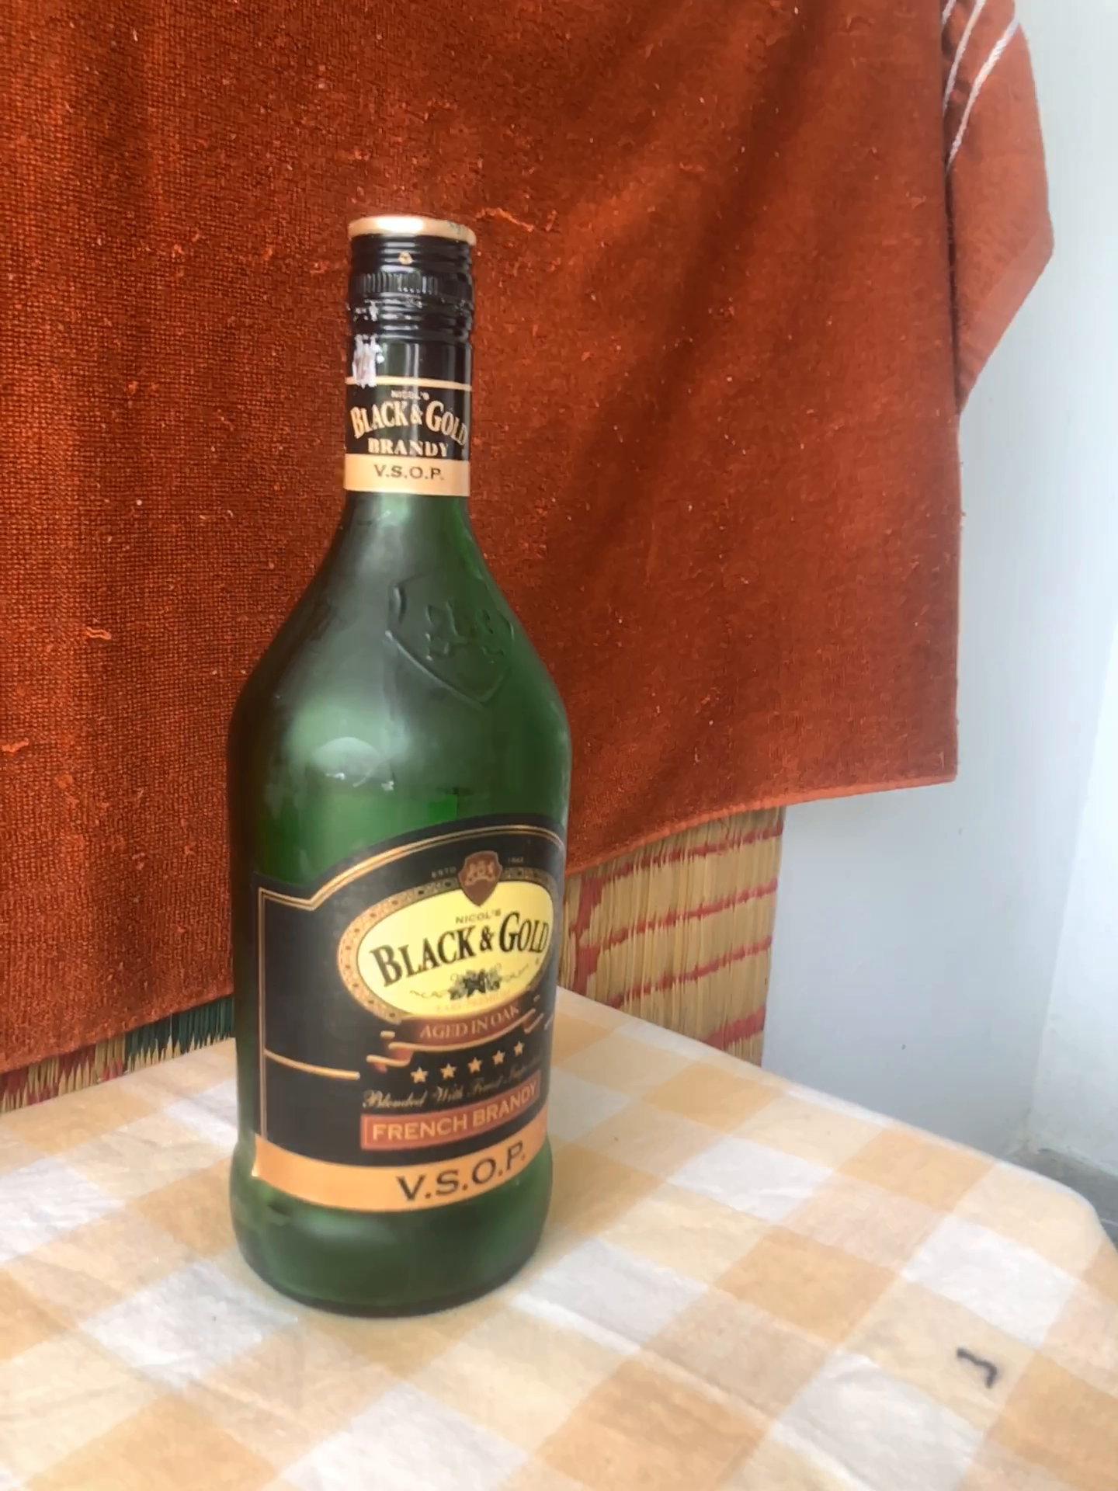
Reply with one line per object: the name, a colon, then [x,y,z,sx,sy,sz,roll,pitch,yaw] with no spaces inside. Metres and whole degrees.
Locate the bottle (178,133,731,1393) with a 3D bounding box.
bottle: [-0.033,0.005,0.305,0.090,0.259,0.080,-3,13,-35]
